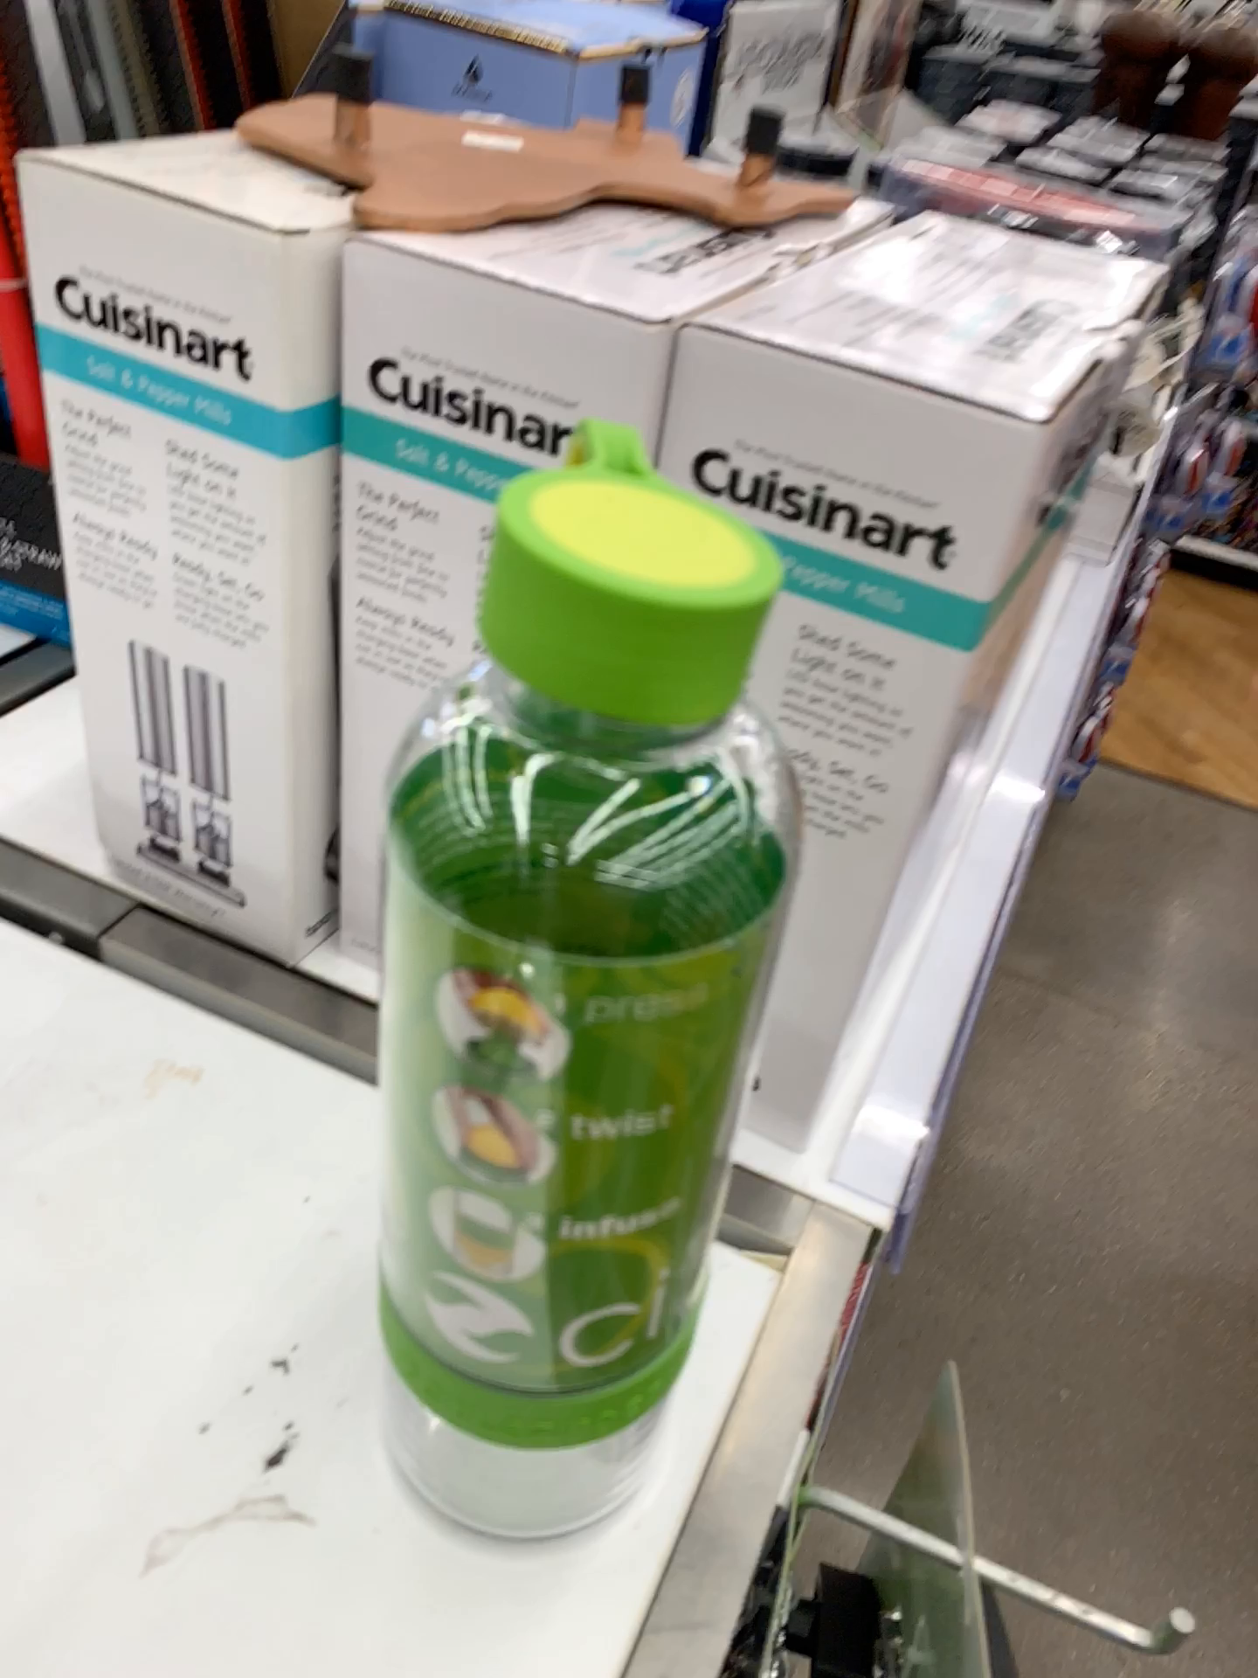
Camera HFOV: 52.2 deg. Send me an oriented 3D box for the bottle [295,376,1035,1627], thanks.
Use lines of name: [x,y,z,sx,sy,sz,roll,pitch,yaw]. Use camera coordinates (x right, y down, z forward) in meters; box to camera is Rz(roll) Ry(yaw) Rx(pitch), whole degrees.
bottle: [-0.012,0.047,0.262,0.078,0.250,0.081,6,37,-4]
